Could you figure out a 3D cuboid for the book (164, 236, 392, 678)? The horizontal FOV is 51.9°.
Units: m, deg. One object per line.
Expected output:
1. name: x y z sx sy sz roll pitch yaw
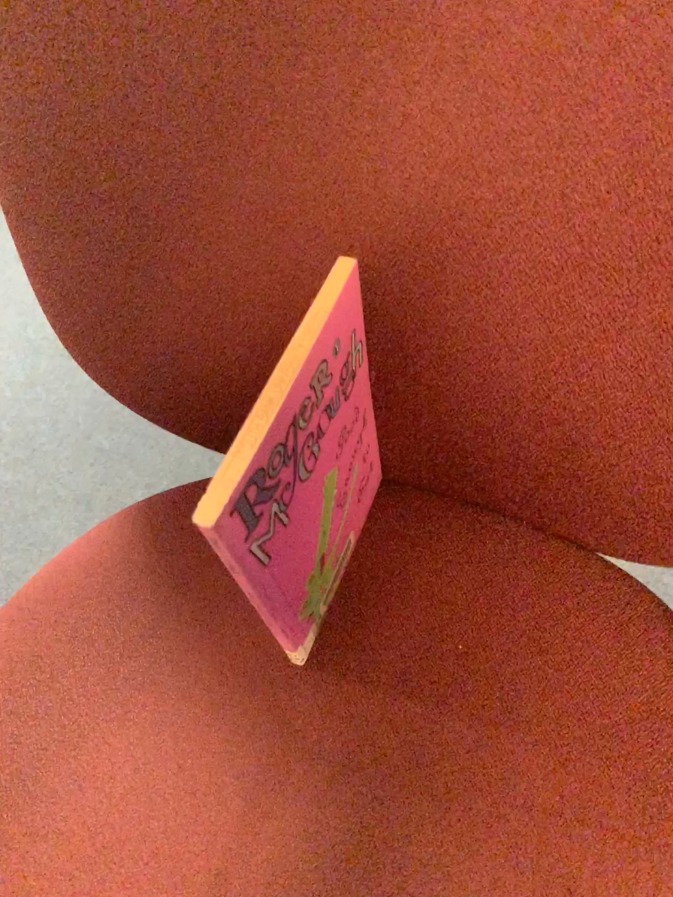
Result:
1. book: -0.011 0.019 0.339 0.017 0.189 0.141 17 62 18
